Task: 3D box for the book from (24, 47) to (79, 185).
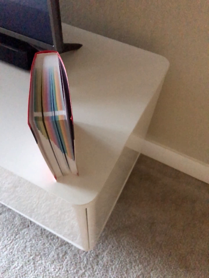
[{"bbox_3d":[-0.083,-0.032,0.399,0.060,0.179,0.151,-5,55,-8],"label":"book"}]
